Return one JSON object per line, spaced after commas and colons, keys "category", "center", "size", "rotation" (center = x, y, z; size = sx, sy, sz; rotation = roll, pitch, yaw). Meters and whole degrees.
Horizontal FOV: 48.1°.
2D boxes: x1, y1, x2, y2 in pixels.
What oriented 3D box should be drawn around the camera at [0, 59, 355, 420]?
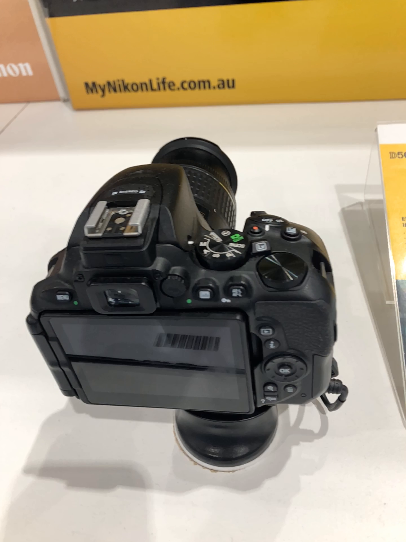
{"category": "camera", "center": [-0.002, -0.027, 0.236], "size": [0.127, 0.097, 0.163], "rotation": [1, 43, 9]}
